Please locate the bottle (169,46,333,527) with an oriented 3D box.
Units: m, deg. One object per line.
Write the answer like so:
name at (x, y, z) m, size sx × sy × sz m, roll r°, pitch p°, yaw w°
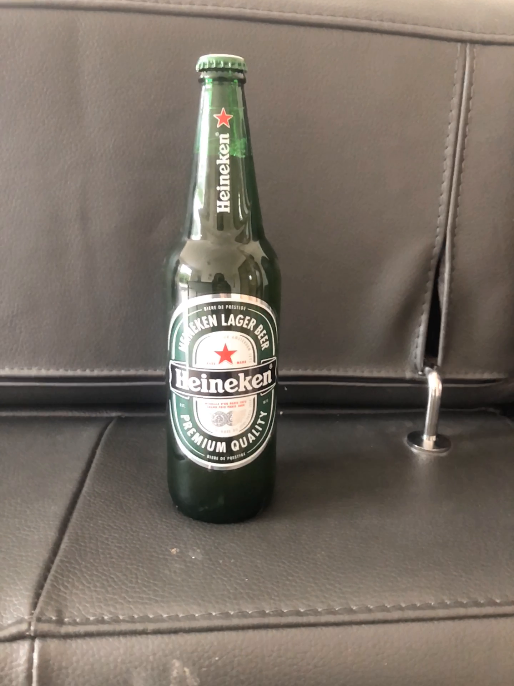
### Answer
bottle at (-0.011, -0.027, 0.355) m, size 0.080 × 0.269 × 0.080 m, roll 2°, pitch 17°, yaw -1°
